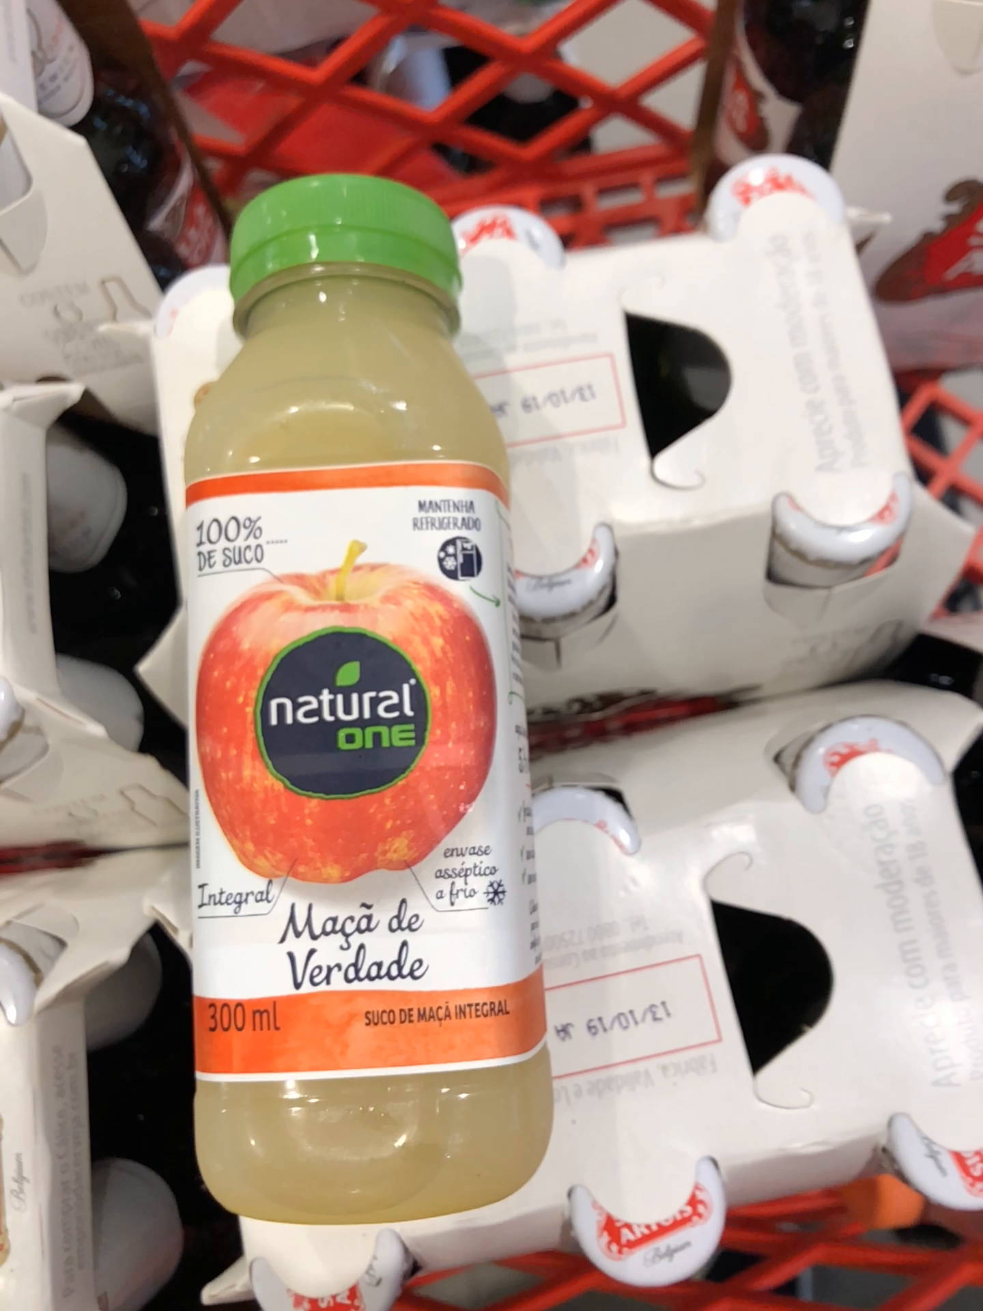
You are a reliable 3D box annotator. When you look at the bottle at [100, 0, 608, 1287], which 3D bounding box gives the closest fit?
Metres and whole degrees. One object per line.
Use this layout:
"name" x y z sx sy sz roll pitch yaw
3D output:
"bottle" -0.021 -0.010 0.178 0.060 0.060 0.180 -5 78 3
